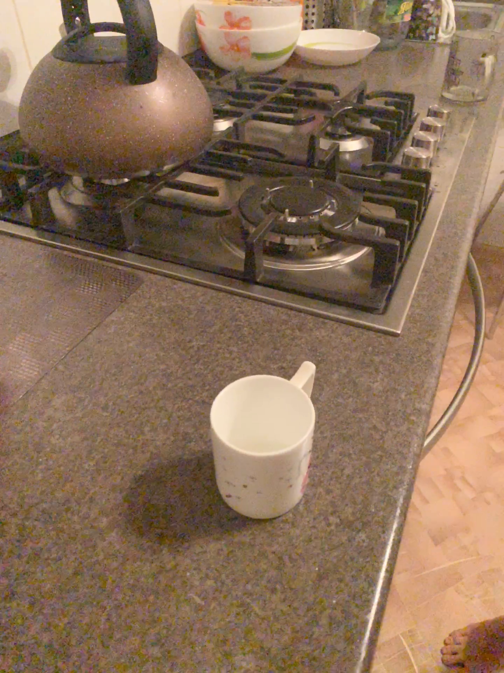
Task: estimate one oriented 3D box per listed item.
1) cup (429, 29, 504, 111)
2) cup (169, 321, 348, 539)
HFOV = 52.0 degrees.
[{"bbox_3d":[0.314,-0.385,0.745,0.064,0.081,0.100,-5,40,-4],"label":"cup"},{"bbox_3d":[0.007,0.049,0.297,0.064,0.061,0.090,17,43,20],"label":"cup"}]
